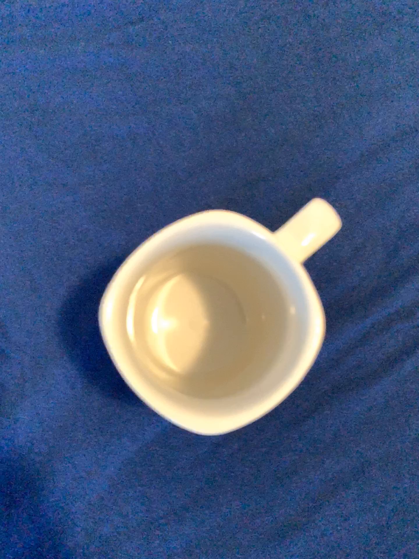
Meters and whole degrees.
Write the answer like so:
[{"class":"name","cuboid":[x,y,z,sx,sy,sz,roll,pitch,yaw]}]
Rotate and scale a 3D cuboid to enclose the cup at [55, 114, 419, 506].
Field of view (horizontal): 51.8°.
[{"class":"cup","cuboid":[0.015,0.011,0.180,0.110,0.090,0.070,-39,86,-9]}]
